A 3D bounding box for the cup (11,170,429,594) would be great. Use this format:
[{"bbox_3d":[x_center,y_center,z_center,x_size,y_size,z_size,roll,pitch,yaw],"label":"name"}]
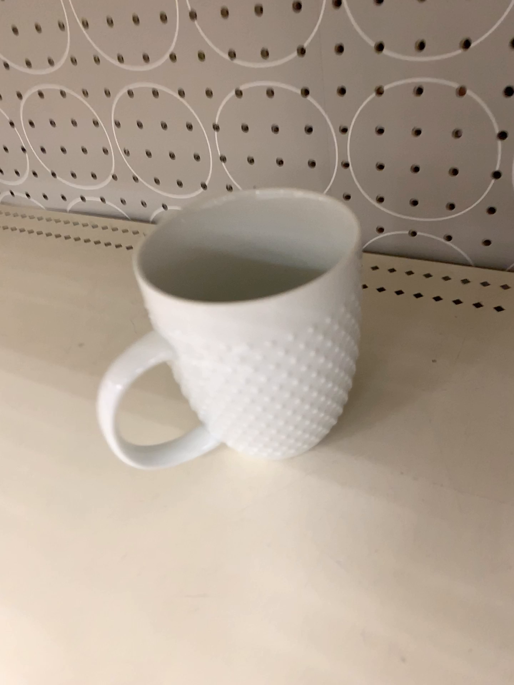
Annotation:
[{"bbox_3d":[-0.008,0.009,0.240,0.137,0.105,0.094,-34,46,-23],"label":"cup"}]
